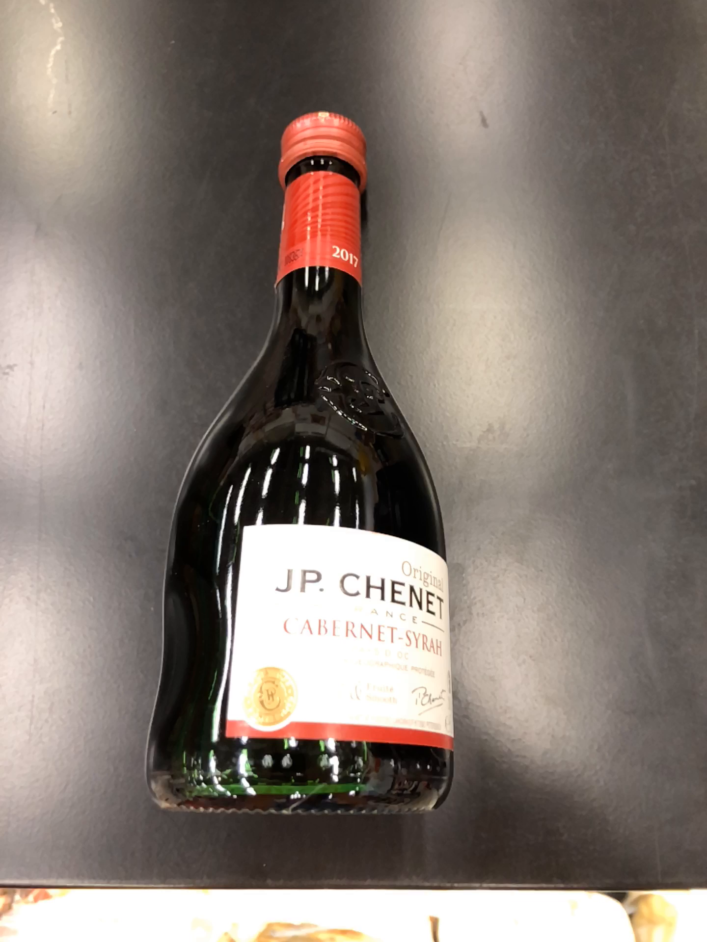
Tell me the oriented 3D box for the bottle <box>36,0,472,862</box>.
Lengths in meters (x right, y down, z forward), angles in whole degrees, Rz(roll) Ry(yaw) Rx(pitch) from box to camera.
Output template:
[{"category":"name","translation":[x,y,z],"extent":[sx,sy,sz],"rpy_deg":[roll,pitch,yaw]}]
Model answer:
[{"category":"bottle","translation":[-0.013,-0.025,0.184],"extent":[0.070,0.060,0.200],"rpy_deg":[-1,72,6]}]
